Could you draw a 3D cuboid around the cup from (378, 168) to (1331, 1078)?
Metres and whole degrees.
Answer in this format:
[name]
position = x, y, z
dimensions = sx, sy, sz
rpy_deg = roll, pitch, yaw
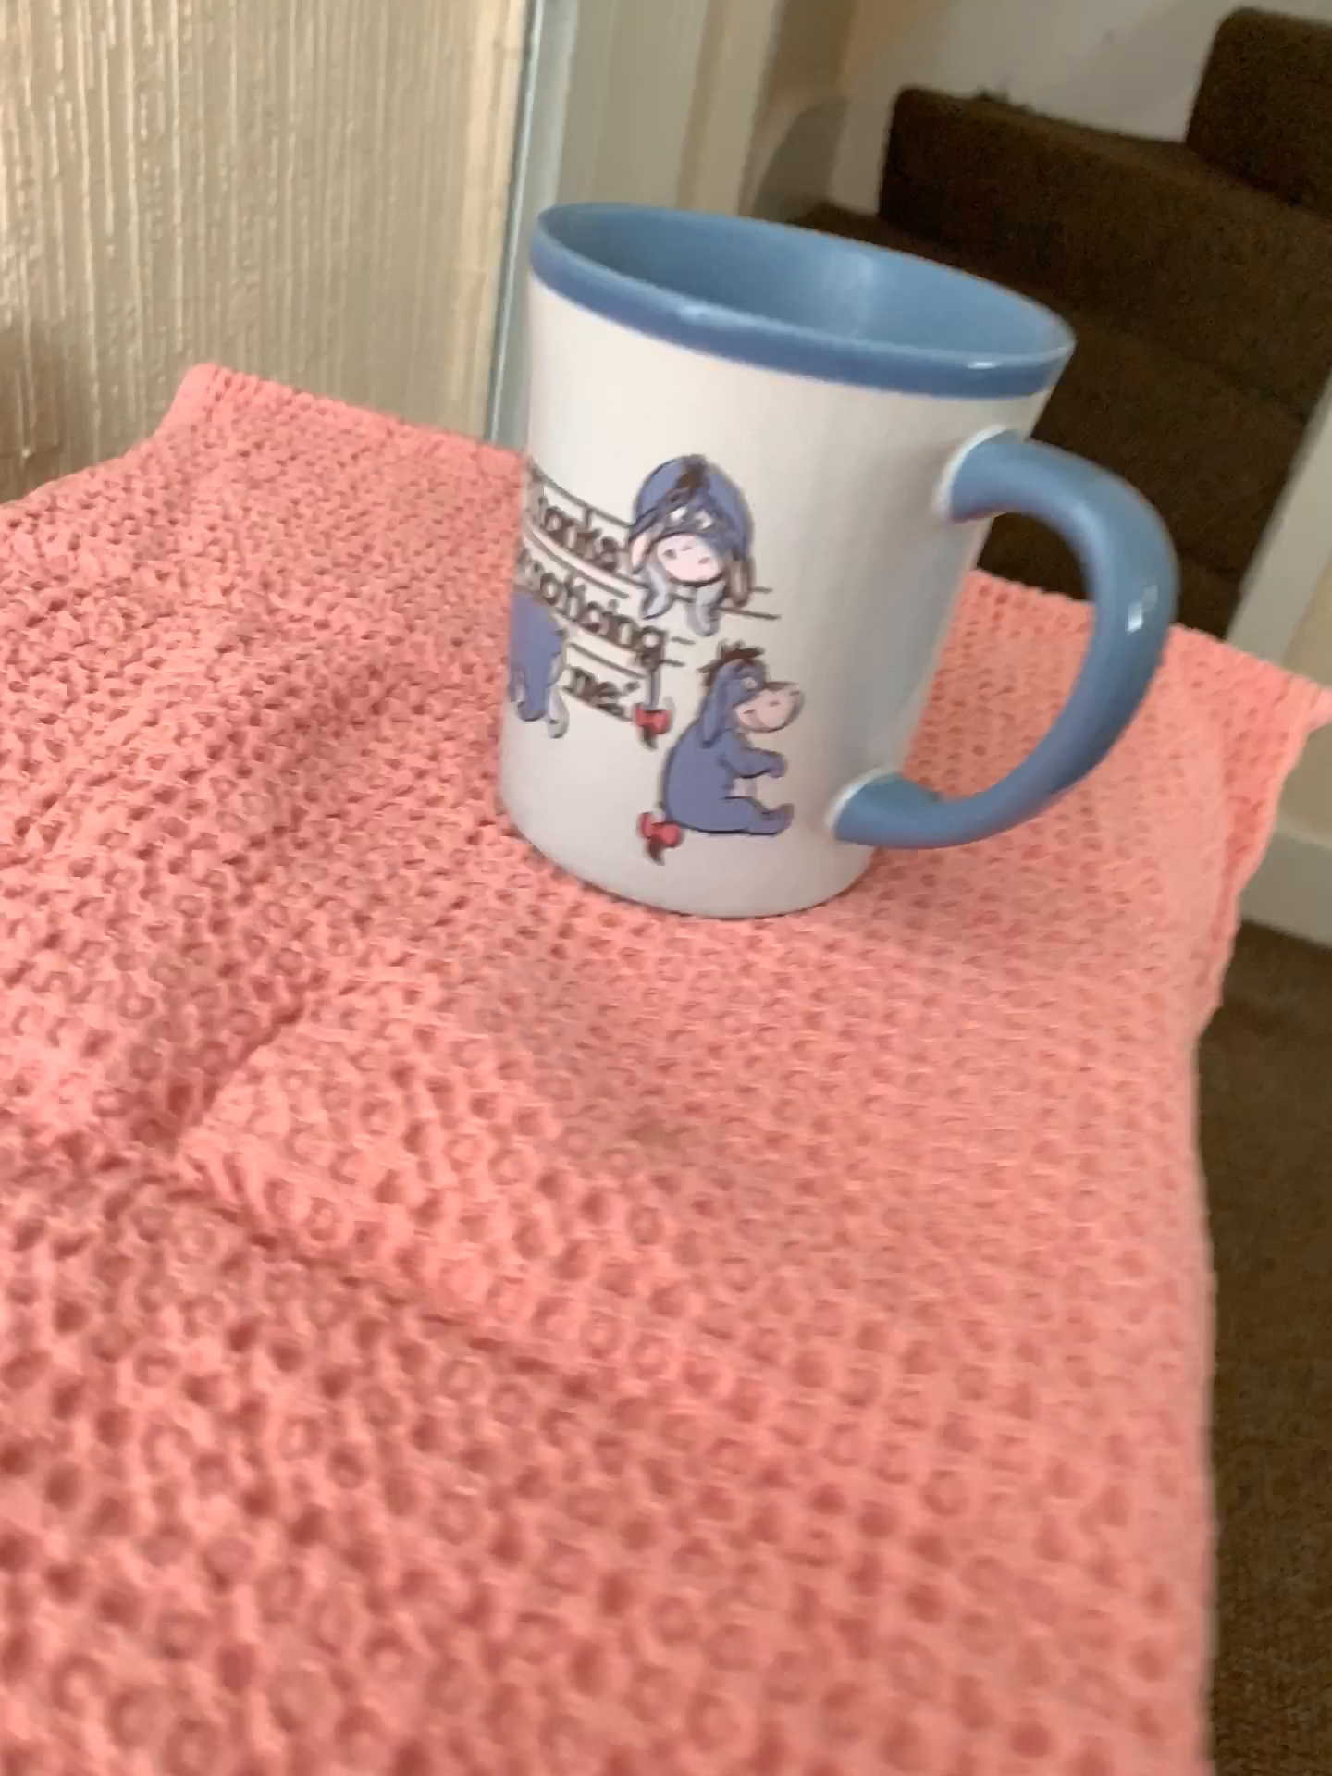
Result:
[cup]
position = 0.024, -0.053, 0.235
dimensions = 0.110, 0.099, 0.091
rpy_deg = 35, 39, 31
